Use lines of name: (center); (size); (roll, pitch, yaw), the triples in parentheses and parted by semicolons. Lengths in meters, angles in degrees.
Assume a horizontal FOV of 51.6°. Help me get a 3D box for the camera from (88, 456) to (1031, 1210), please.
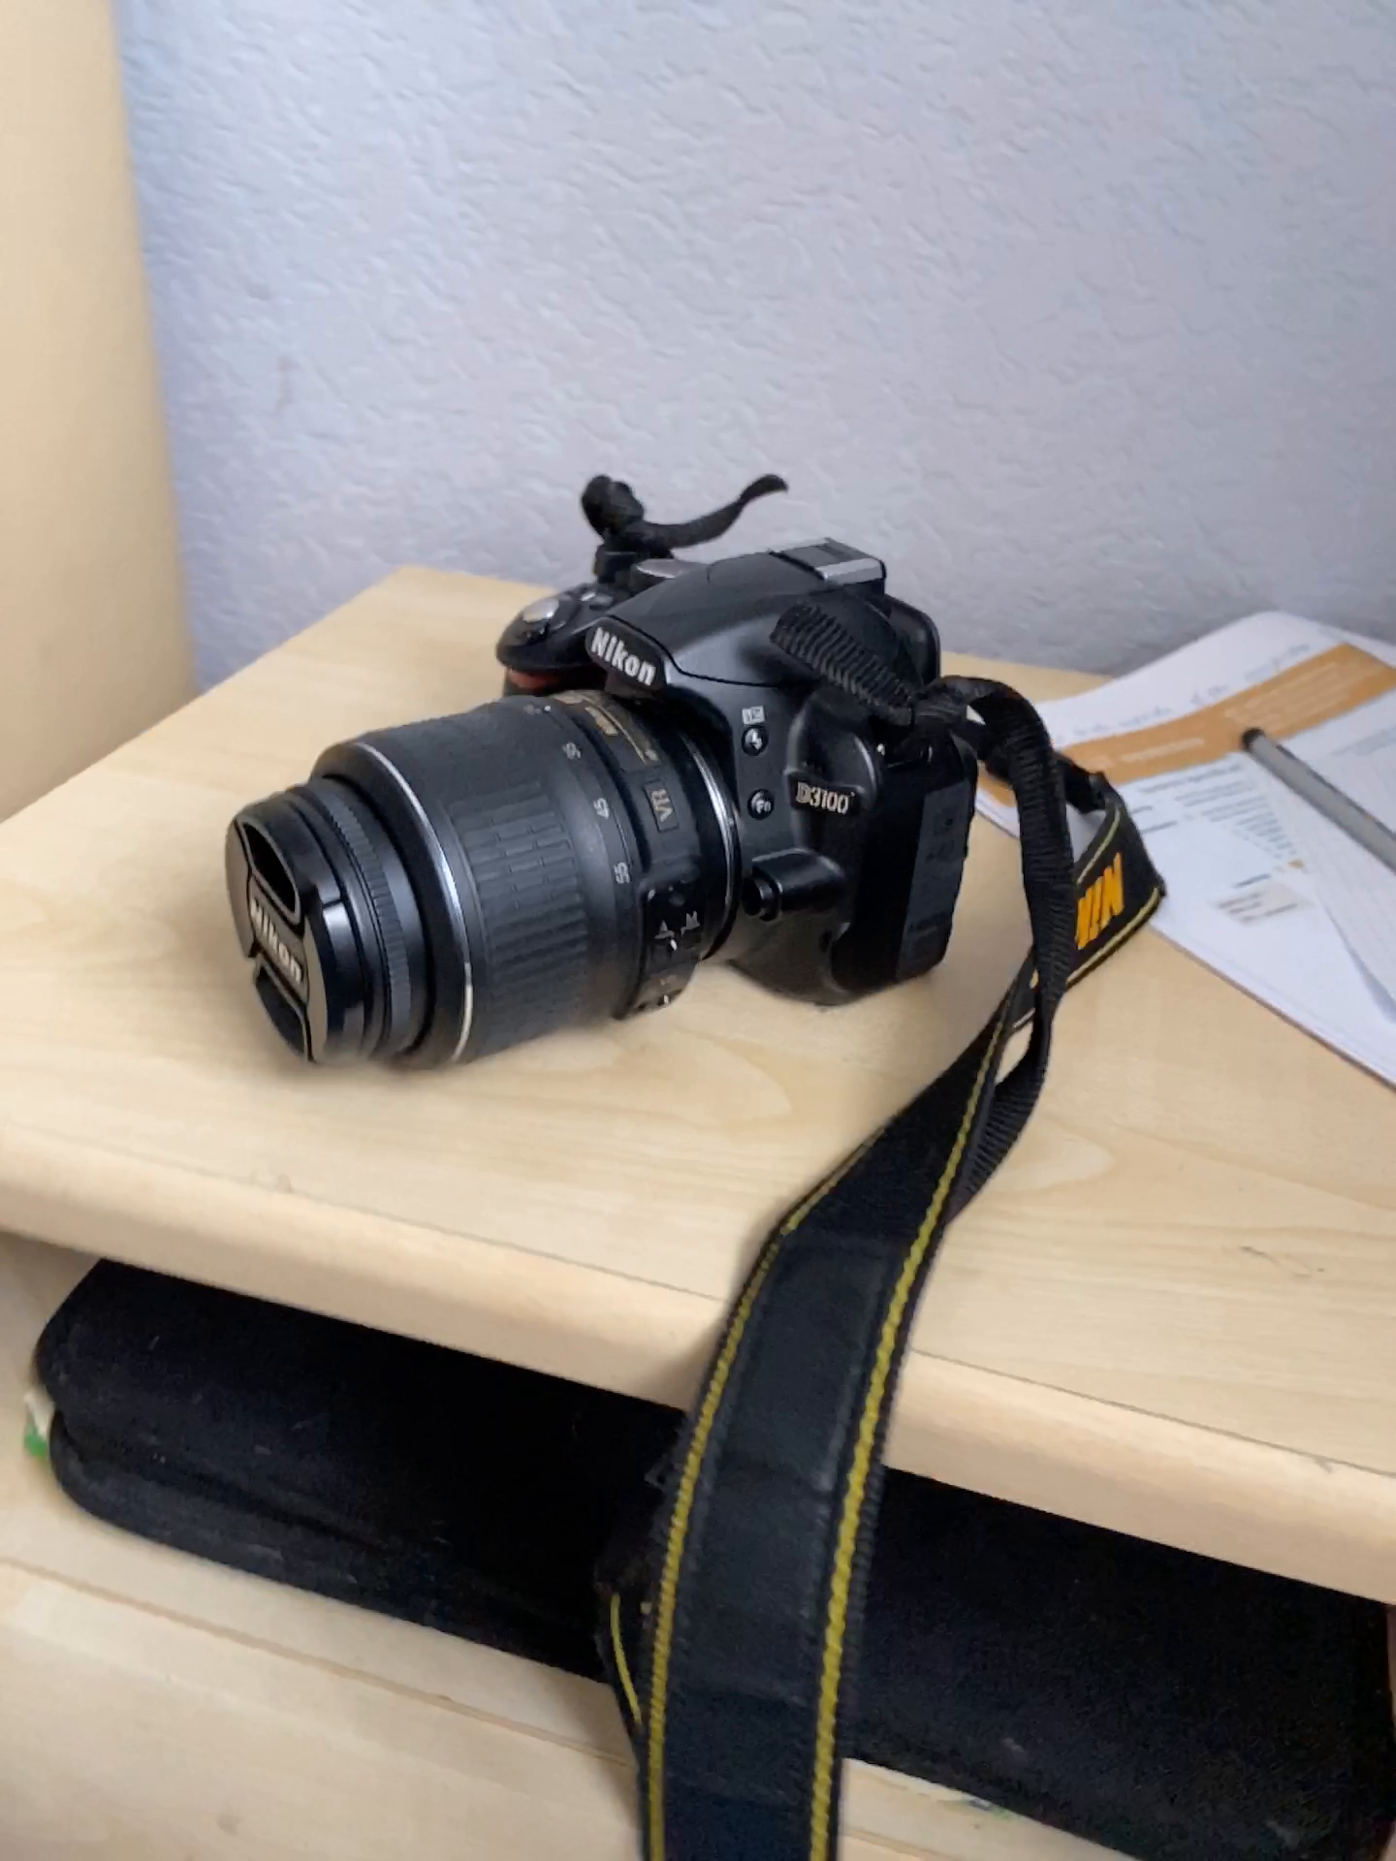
camera: (-0.030, -0.036, 0.318); (0.152, 0.091, 0.118); (-19, 39, -33)
